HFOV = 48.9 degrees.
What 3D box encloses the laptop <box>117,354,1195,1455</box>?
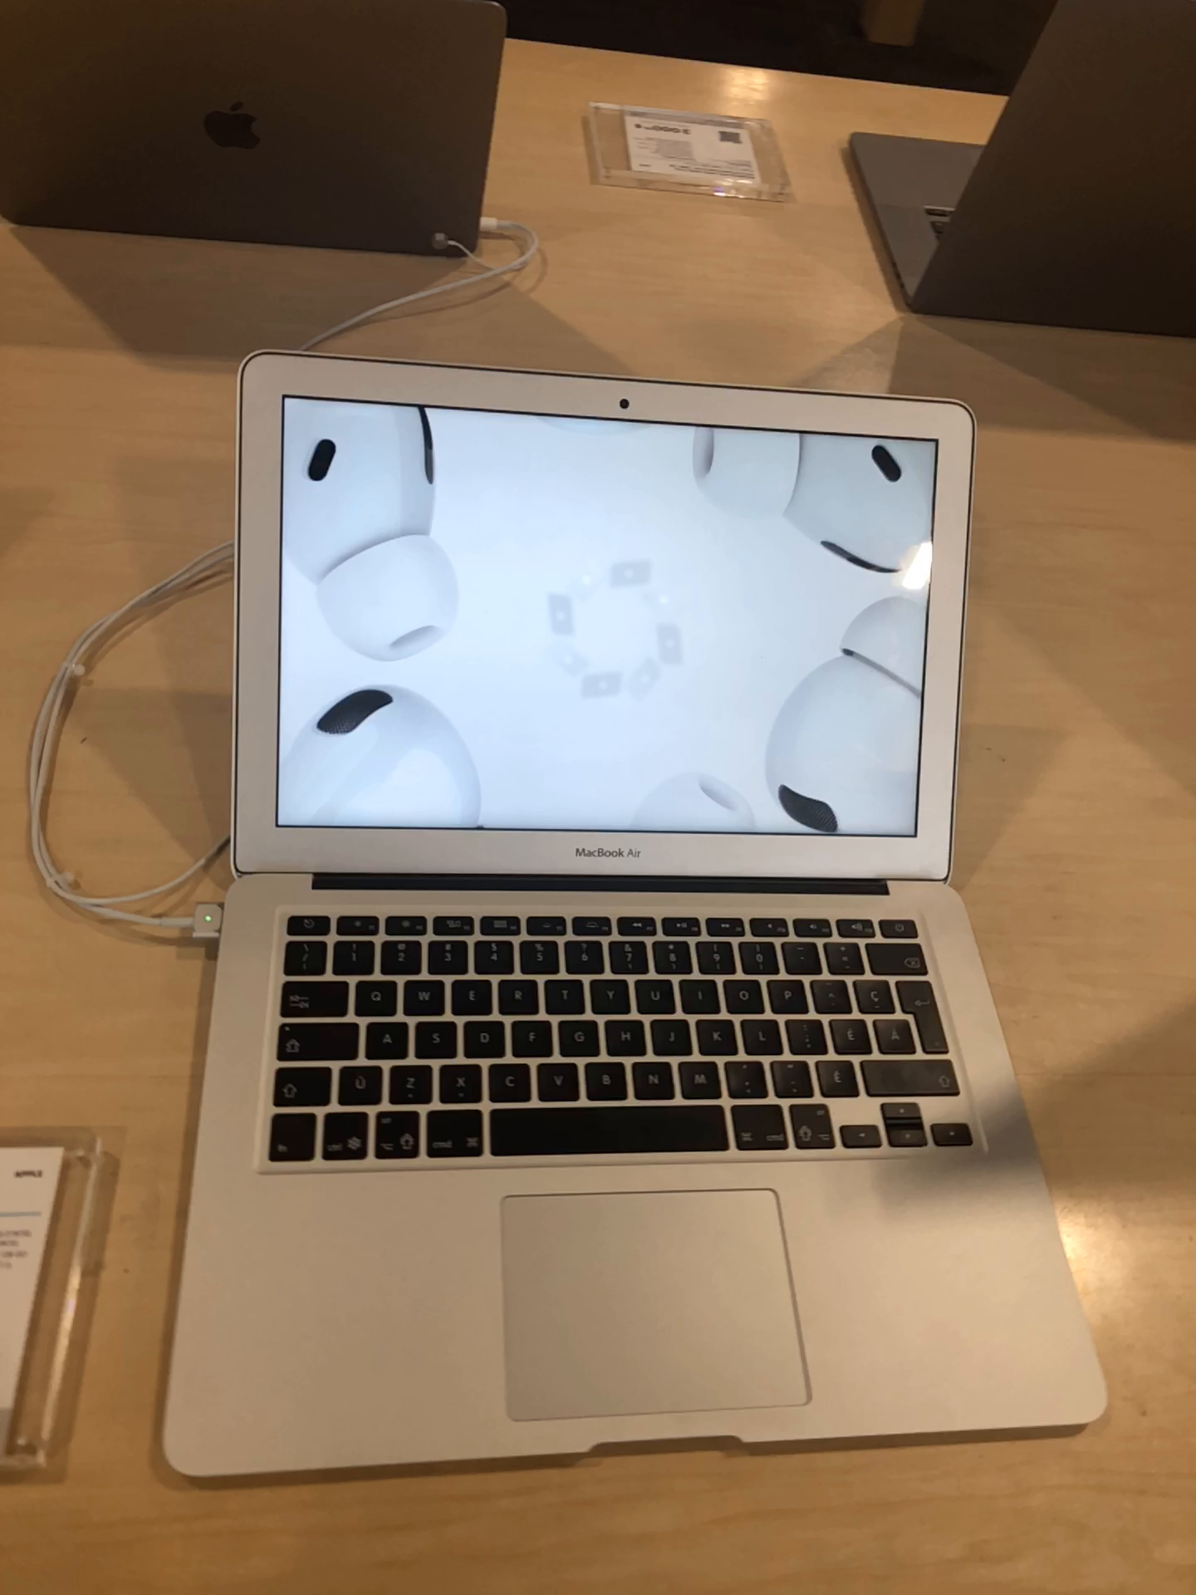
[{"bbox_3d":[0.015,0.017,0.488,0.302,0.137,0.371,1,52,-10],"label":"laptop"}]
